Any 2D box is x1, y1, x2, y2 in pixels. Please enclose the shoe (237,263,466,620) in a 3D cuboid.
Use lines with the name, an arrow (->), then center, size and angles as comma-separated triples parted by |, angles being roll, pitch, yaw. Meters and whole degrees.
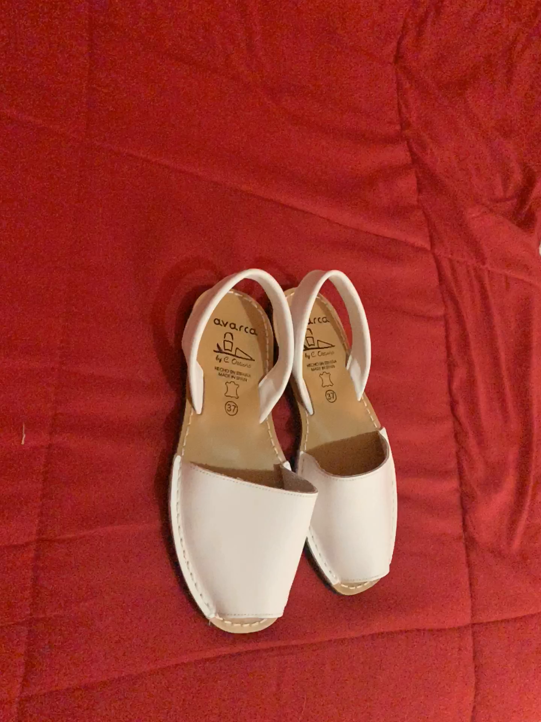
shoe -> 0.060, 0.052, 0.435 | 0.104, 0.063, 0.249 | -7, 79, -34

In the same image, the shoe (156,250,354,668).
shoe -> -0.014, 0.059, 0.383 | 0.108, 0.063, 0.248 | 8, 71, -31
